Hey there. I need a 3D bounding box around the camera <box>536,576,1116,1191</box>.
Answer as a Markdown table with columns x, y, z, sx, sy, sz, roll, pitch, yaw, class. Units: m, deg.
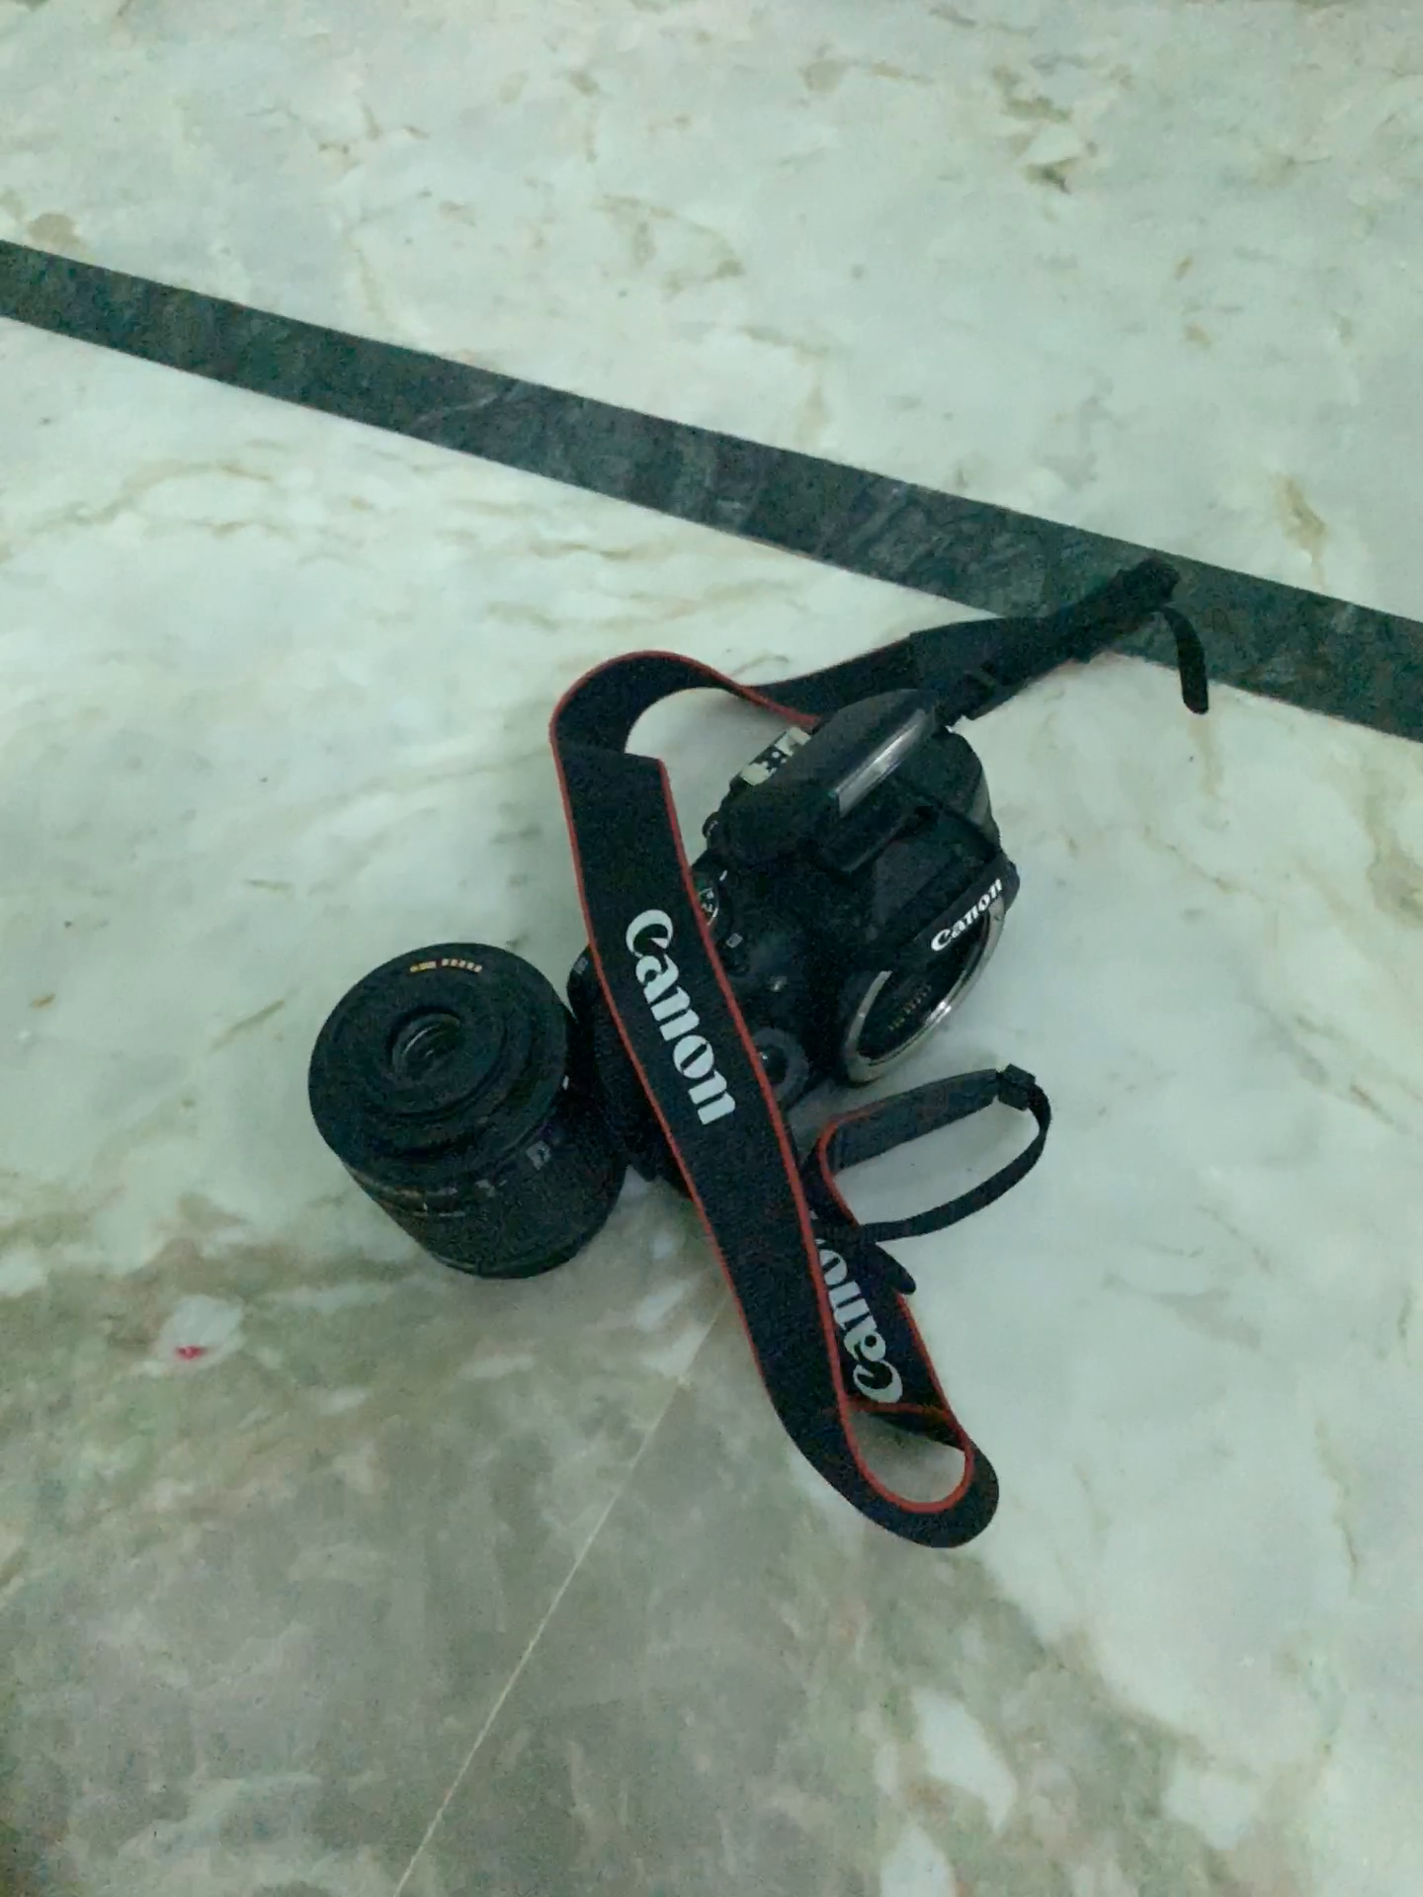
| x | y | z | sx | sy | sz | roll | pitch | yaw | class |
| --- | --- | --- | --- | --- | --- | --- | --- | --- | --- |
| 0.032 | -0.017 | 0.377 | 0.112 | 0.078 | 0.082 | -42 | 61 | -16 | camera |
